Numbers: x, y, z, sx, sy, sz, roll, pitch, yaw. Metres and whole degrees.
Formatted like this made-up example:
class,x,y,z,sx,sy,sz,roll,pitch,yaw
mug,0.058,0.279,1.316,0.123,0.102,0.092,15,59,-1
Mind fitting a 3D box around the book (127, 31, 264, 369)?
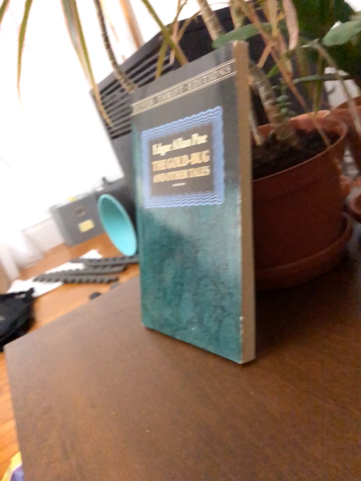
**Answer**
class,x,y,z,sx,sy,sz,roll,pitch,yaw
book,0.004,-0.026,0.313,0.020,0.210,0.140,-3,4,-36
